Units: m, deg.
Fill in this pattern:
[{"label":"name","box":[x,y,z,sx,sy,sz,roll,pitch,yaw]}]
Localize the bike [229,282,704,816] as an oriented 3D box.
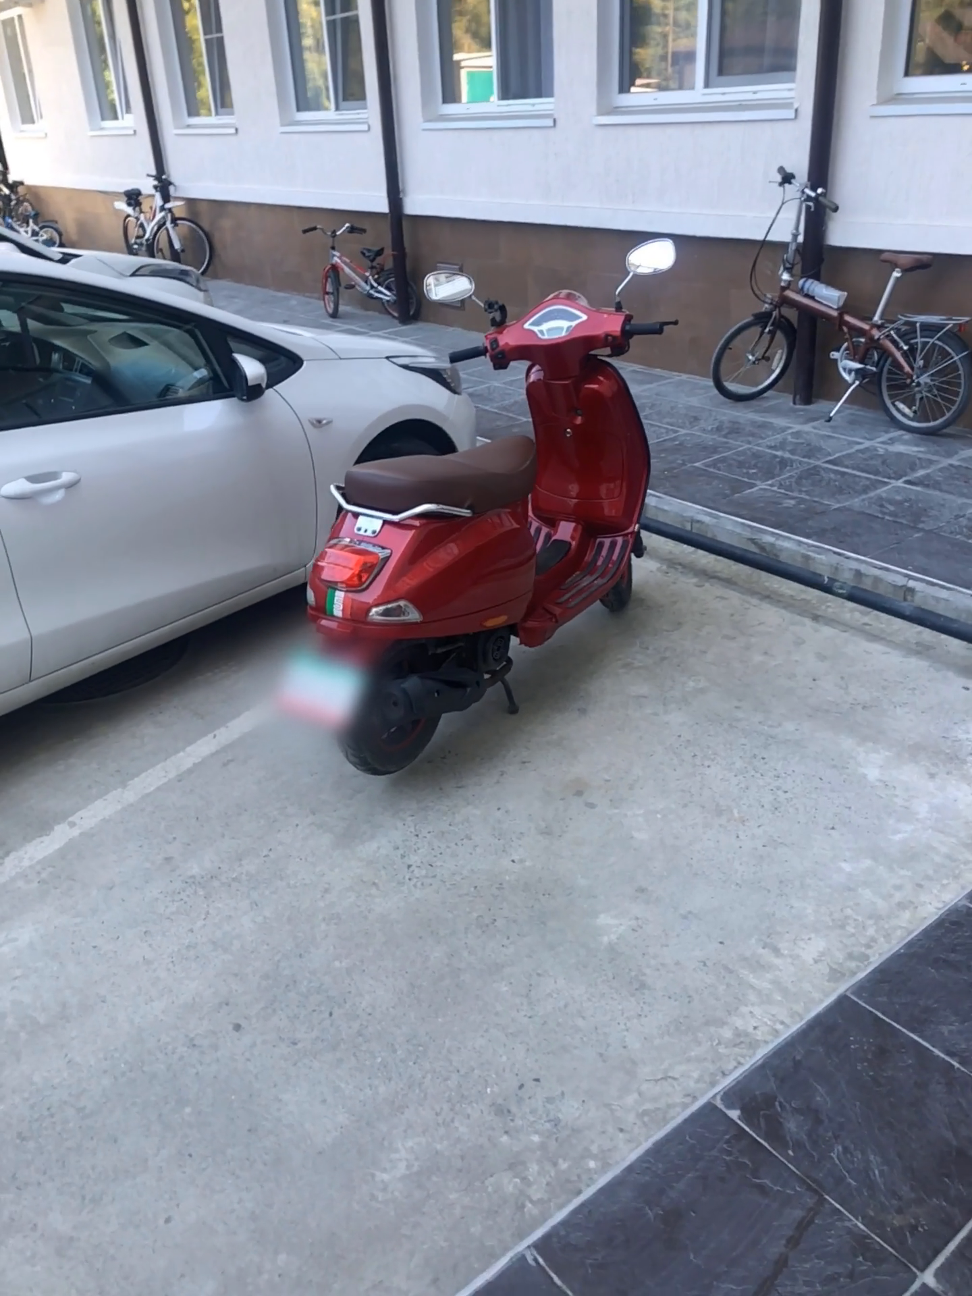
[{"label":"bike","box":[0.067,-0.419,3.093,0.535,0.950,1.599,13,31,29]}]
